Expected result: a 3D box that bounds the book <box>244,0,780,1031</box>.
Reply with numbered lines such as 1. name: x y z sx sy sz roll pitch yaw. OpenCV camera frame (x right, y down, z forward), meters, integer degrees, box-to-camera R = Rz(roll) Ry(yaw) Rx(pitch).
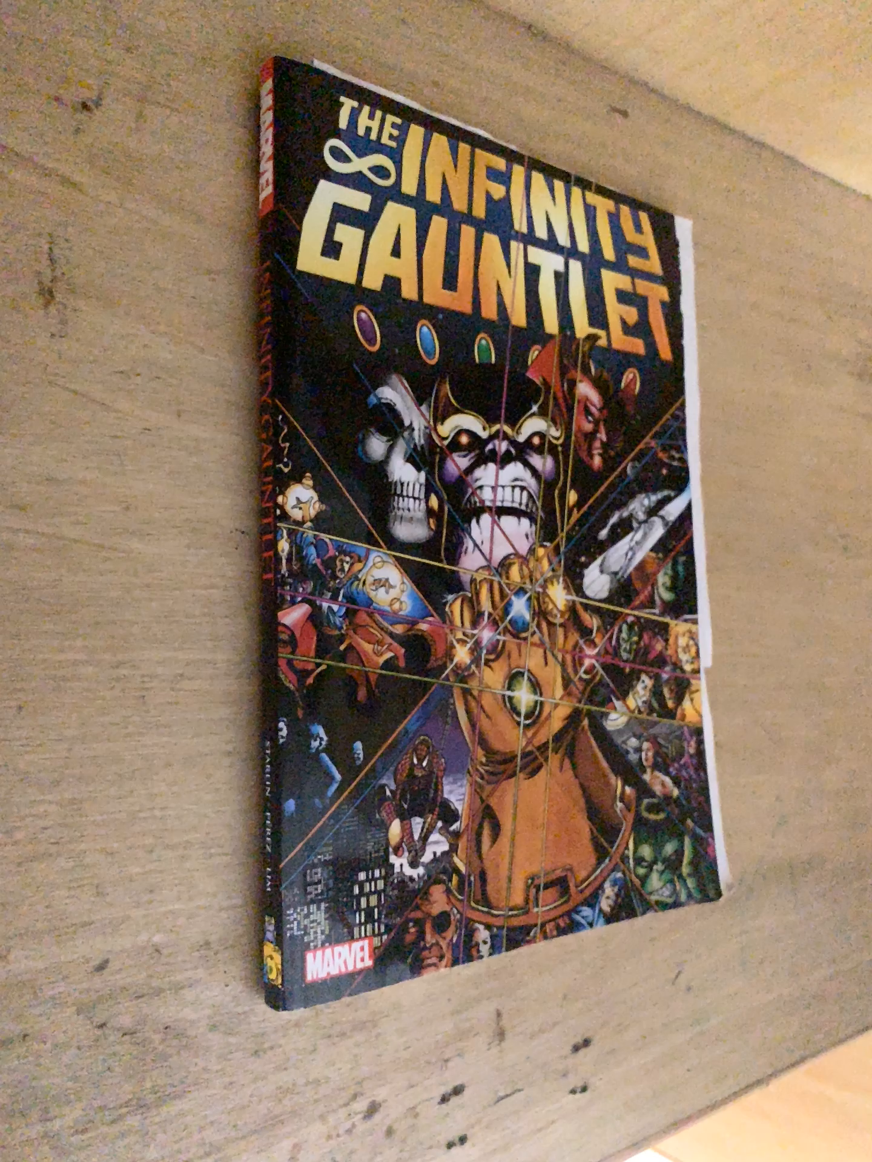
1. book: 0.034 -0.024 0.293 0.191 0.030 0.270 2 85 -35
